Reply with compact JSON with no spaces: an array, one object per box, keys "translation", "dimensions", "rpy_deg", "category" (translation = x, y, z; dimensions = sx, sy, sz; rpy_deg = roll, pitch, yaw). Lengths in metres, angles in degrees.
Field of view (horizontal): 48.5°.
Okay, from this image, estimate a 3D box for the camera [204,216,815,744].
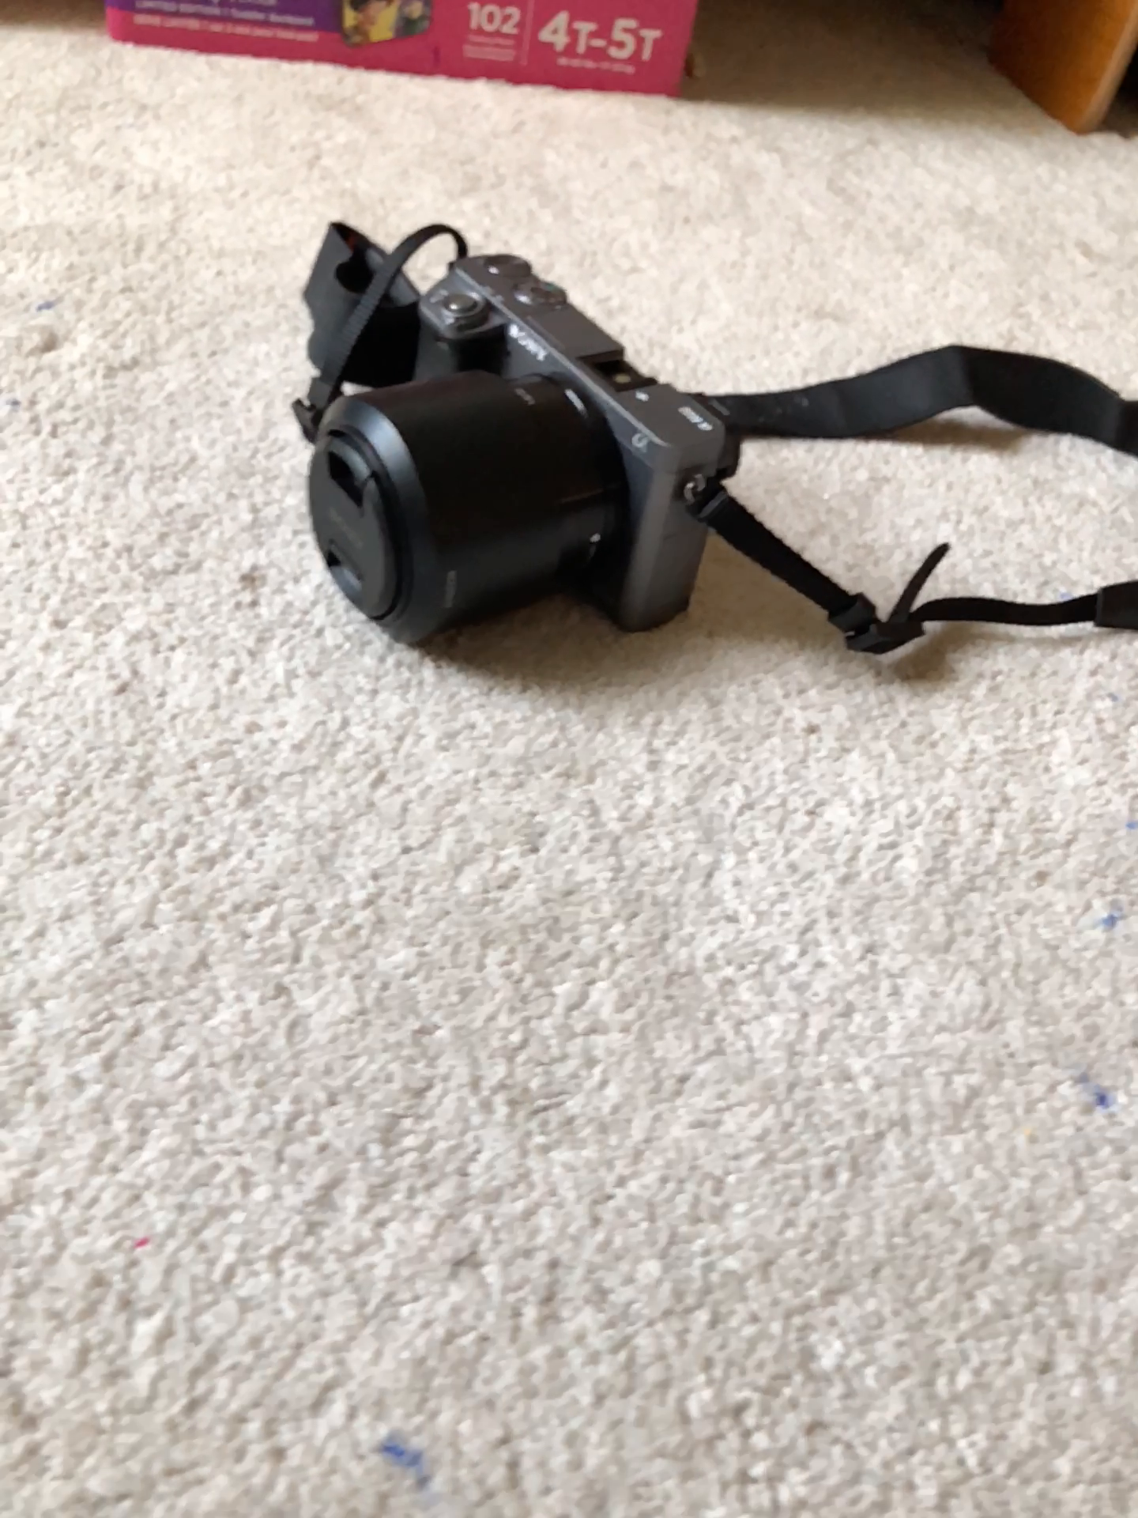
[{"translation":[-0.024,-0.092,0.380],"dimensions":[0.120,0.080,0.130],"rpy_deg":[-21,52,-31],"category":"camera"}]
